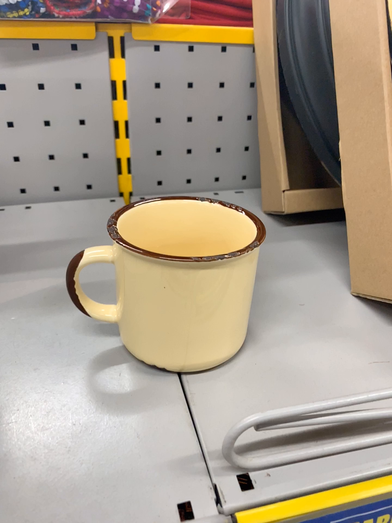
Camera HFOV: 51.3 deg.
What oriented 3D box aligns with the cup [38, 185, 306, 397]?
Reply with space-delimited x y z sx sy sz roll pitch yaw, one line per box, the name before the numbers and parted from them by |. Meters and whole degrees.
cup | -0.016 0.010 0.240 0.120 0.080 0.090 -3 30 -9
